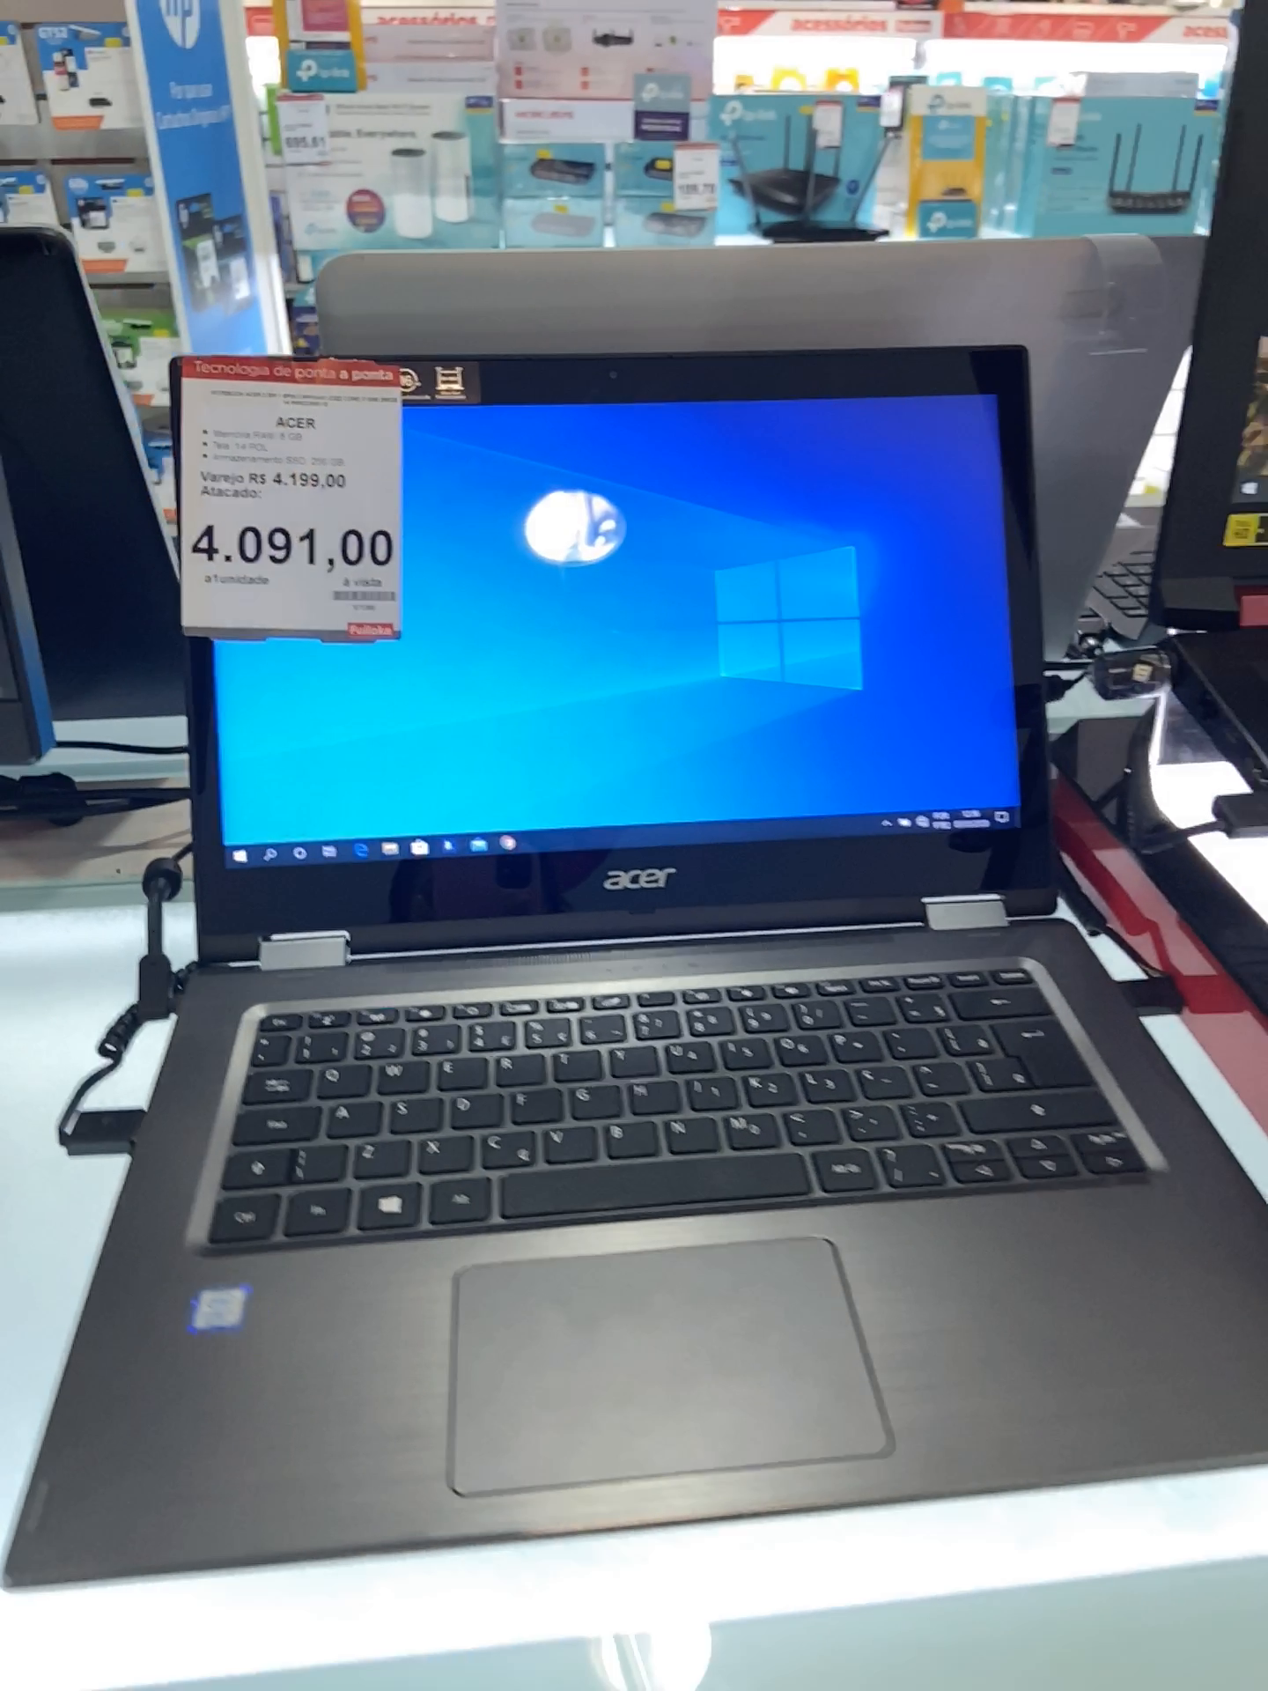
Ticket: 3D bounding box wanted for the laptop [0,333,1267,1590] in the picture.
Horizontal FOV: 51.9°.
[{"bbox_3d":[0.006,-0.022,0.400,0.328,0.187,0.358,-3,31,-5],"label":"laptop"}]
